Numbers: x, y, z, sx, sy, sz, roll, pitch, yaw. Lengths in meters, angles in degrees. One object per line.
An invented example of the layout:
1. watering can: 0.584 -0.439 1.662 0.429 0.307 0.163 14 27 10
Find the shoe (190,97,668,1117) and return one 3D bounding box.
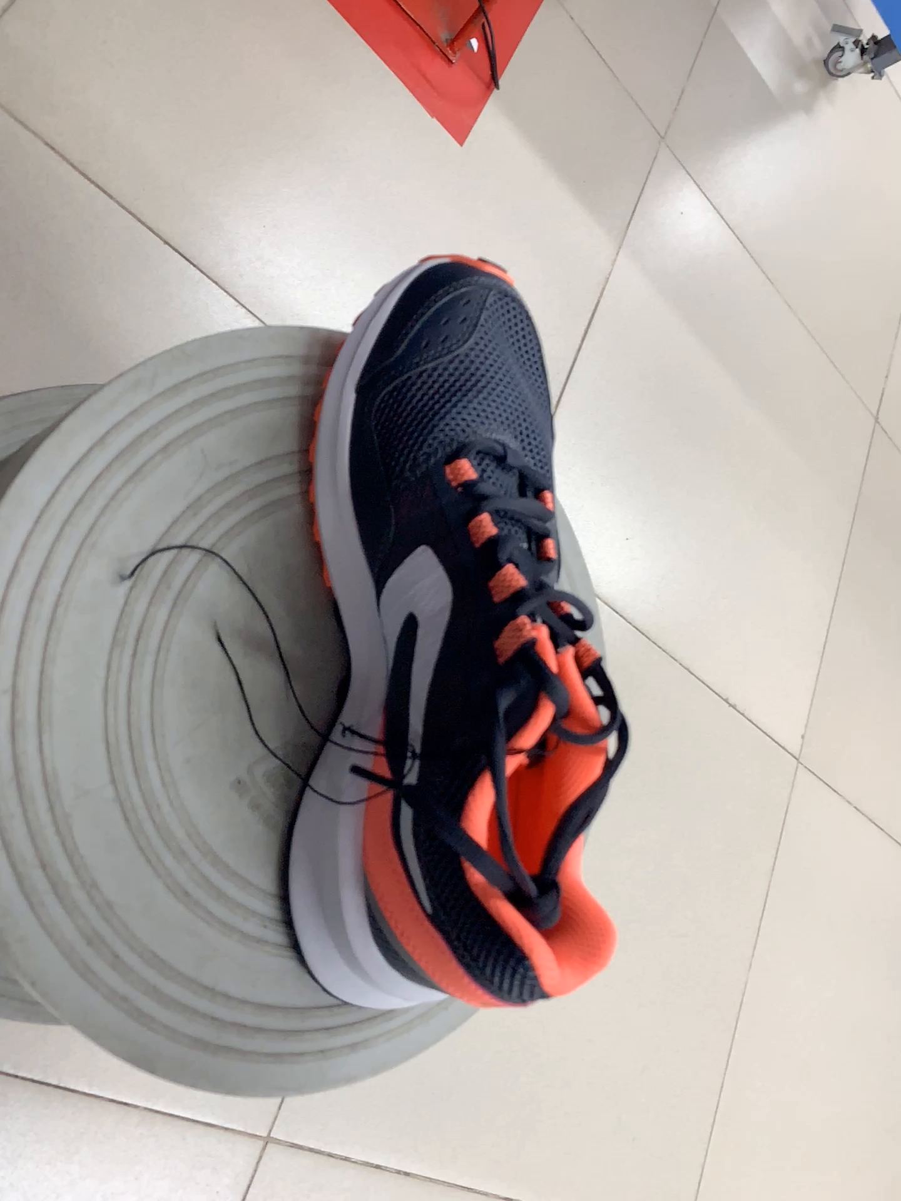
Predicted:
1. shoe: -0.006 0.002 0.335 0.100 0.119 0.290 11 79 -38
